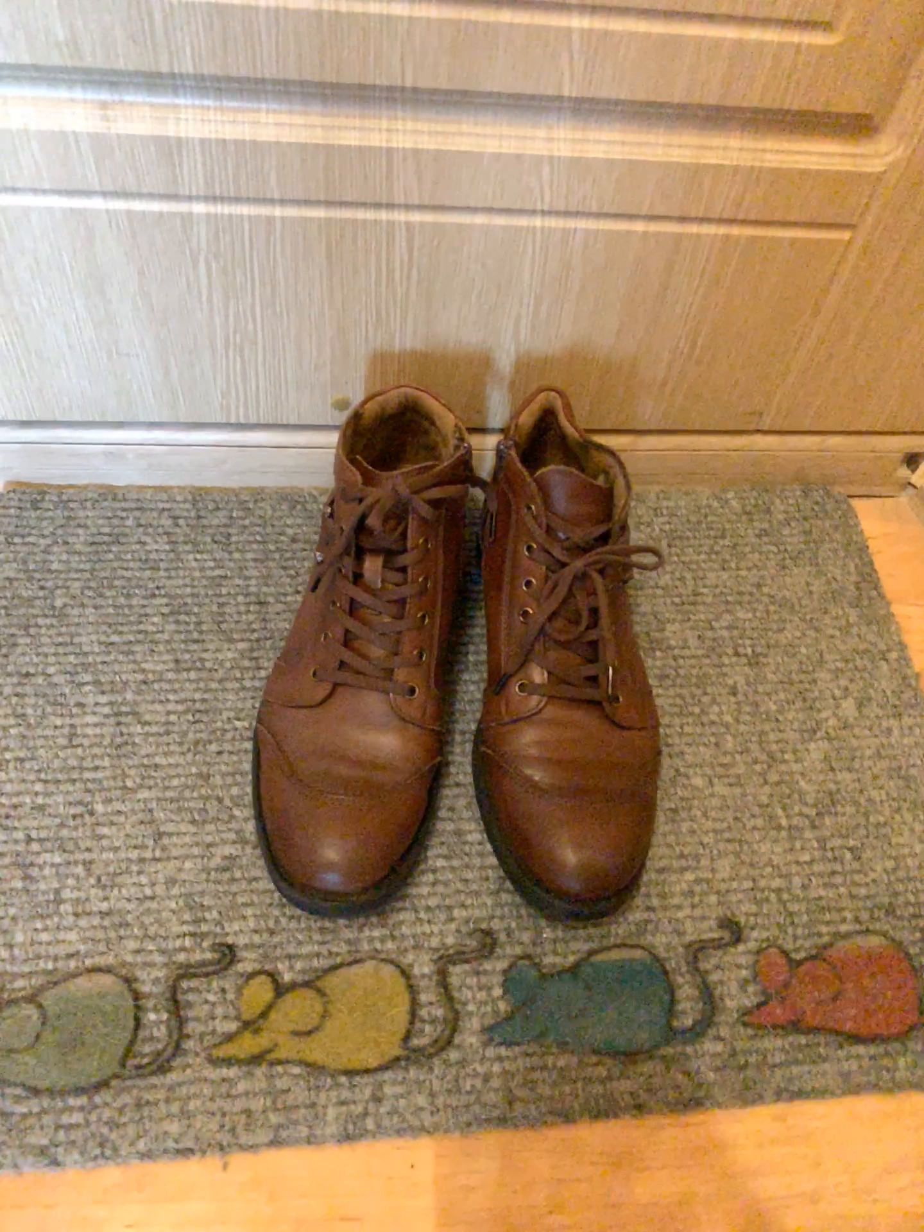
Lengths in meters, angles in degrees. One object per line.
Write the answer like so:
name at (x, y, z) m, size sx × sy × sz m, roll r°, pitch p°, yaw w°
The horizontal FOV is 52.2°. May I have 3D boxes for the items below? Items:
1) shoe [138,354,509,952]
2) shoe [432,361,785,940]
shoe at (-0.056, 0.014, 0.489) m, size 0.110 × 0.140 × 0.261 m, roll 11°, pitch 56°, yaw 0°
shoe at (0.055, 0.012, 0.501) m, size 0.110 × 0.140 × 0.271 m, roll -1°, pitch 56°, yaw -8°
